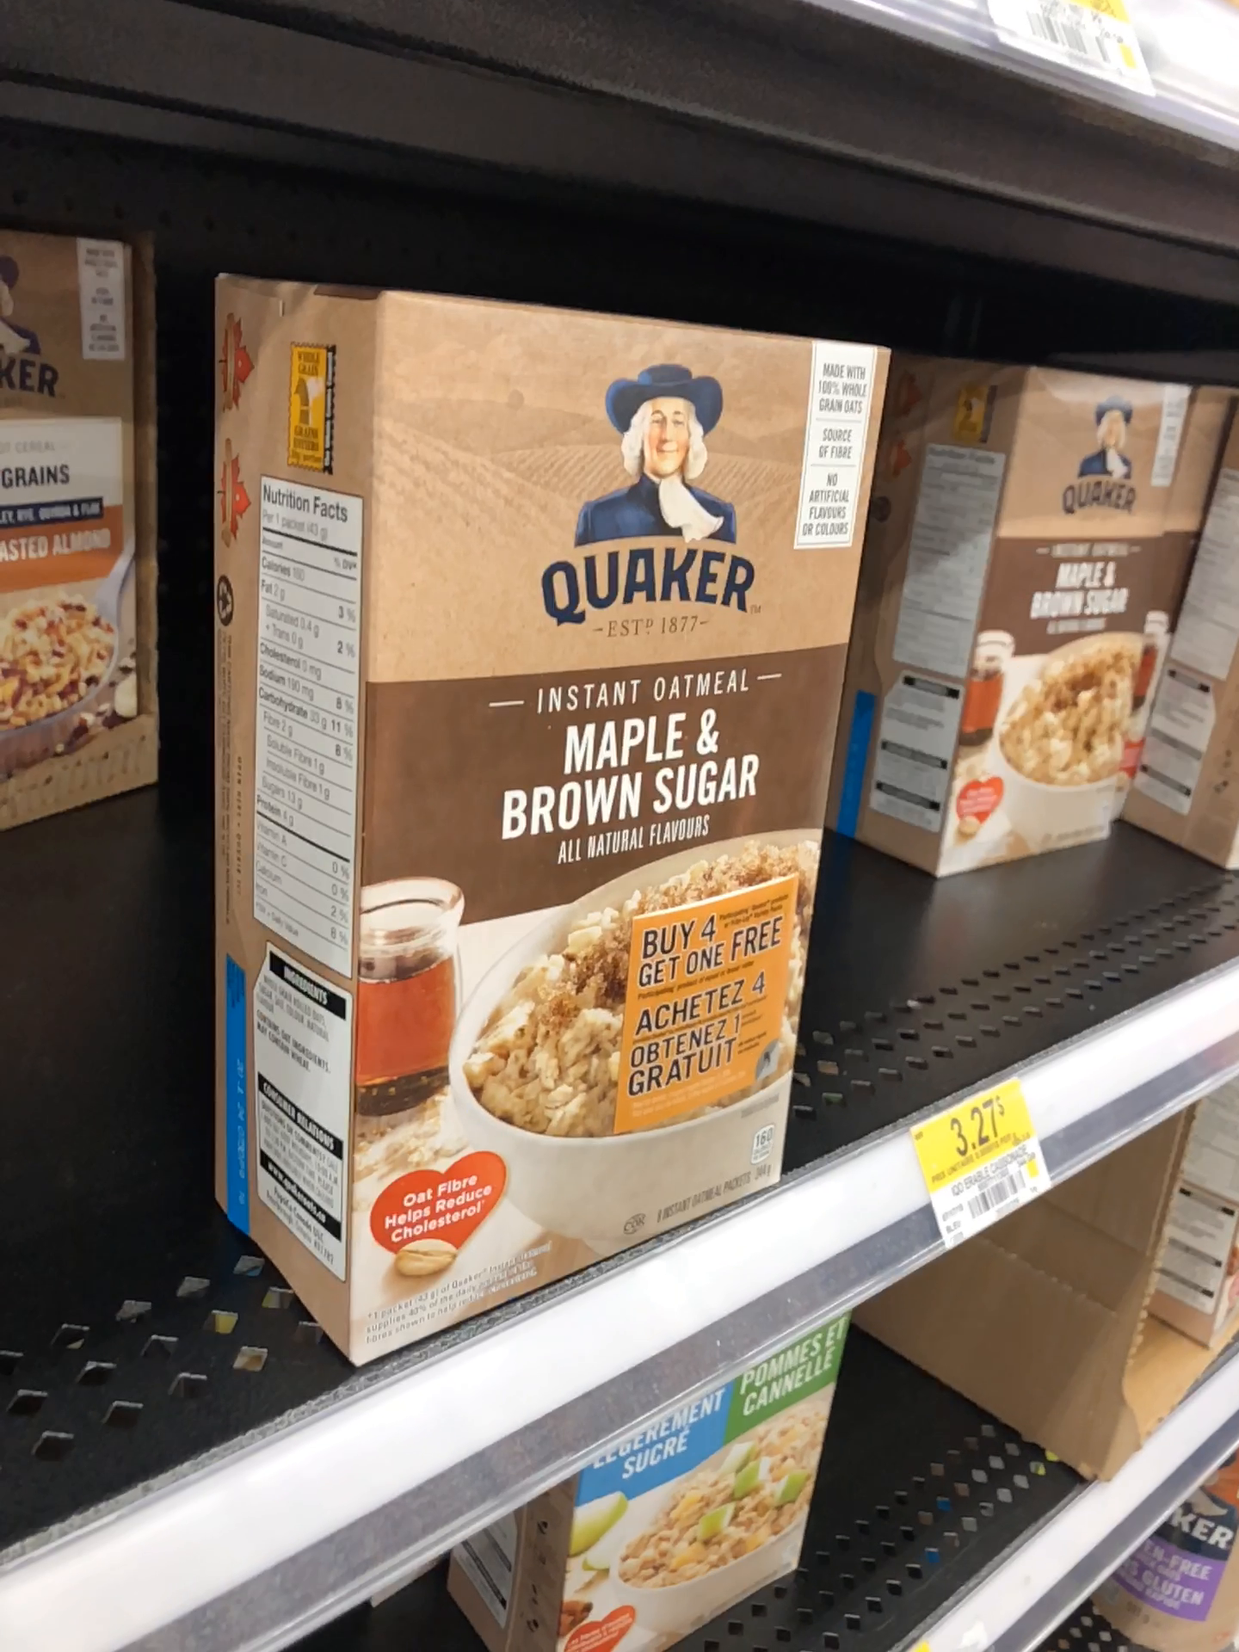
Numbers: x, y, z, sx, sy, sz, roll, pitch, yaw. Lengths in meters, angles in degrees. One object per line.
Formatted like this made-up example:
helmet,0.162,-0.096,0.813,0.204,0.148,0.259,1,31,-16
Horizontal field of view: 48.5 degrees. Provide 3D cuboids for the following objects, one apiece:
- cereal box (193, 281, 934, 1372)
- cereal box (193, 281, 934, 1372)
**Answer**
cereal box,-0.014,-0.006,0.289,0.130,0.189,0.060,-10,24,-39
cereal box,-0.014,-0.006,0.289,0.130,0.189,0.060,-10,24,-39
